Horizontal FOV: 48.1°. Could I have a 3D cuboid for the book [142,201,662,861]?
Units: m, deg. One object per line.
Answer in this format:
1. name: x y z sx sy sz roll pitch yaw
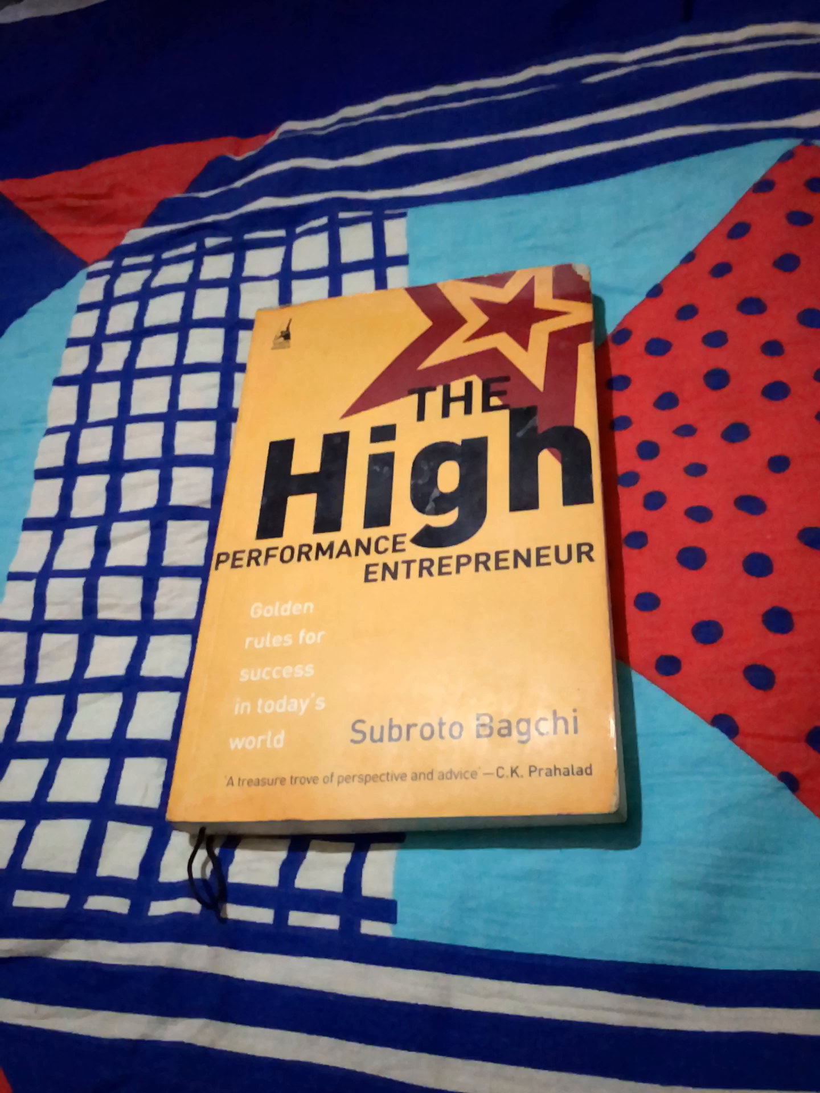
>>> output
1. book: 0.001 -0.016 0.319 0.140 0.040 0.230 -7 56 13
